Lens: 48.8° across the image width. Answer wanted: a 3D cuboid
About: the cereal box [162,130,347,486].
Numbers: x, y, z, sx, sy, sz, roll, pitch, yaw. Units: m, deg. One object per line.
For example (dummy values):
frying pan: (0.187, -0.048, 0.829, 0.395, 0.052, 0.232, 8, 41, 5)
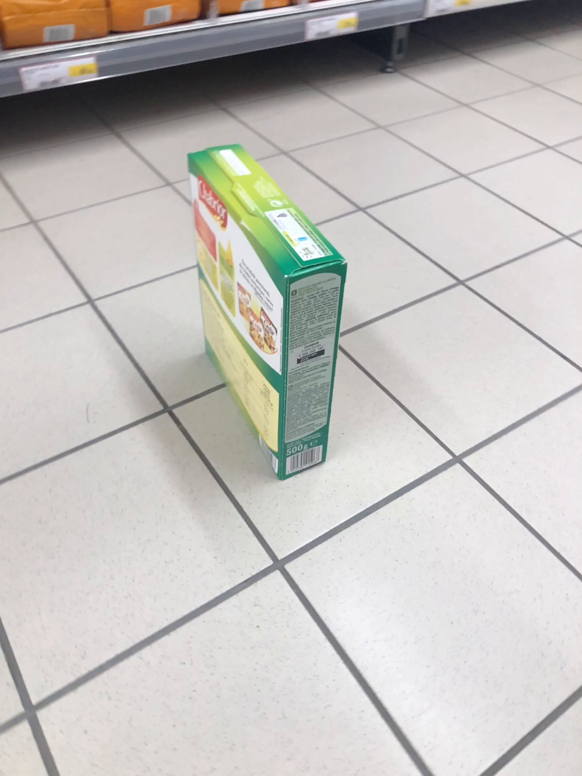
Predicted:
cereal box: (-0.038, -0.067, 0.546, 0.060, 0.219, 0.201, -17, 48, -19)
